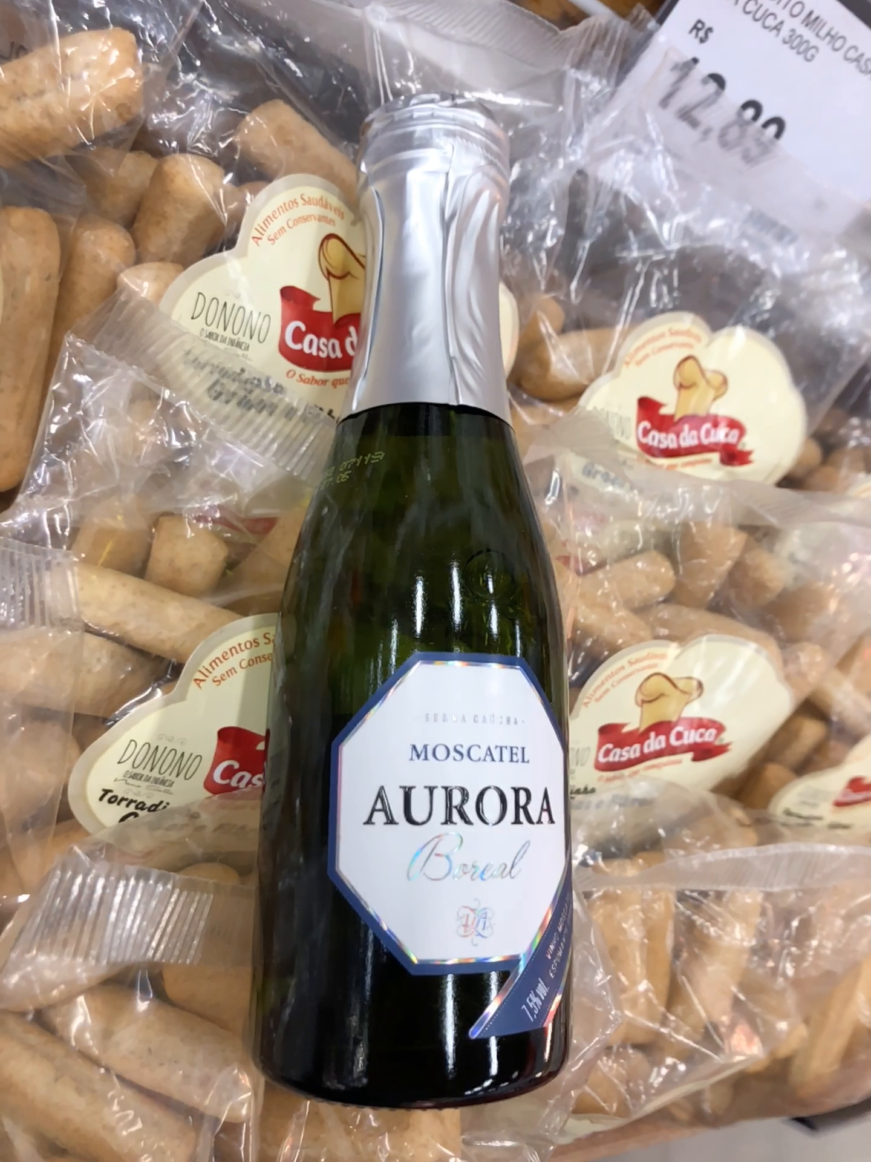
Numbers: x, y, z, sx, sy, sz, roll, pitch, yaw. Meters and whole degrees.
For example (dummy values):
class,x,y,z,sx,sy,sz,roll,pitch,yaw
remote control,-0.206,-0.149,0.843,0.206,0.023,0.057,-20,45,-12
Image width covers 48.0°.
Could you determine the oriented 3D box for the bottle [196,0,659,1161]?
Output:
class,x,y,z,sx,sy,sz,roll,pitch,yaw
bottle,0.001,-0.011,0.179,0.060,0.050,0.200,8,81,-37
